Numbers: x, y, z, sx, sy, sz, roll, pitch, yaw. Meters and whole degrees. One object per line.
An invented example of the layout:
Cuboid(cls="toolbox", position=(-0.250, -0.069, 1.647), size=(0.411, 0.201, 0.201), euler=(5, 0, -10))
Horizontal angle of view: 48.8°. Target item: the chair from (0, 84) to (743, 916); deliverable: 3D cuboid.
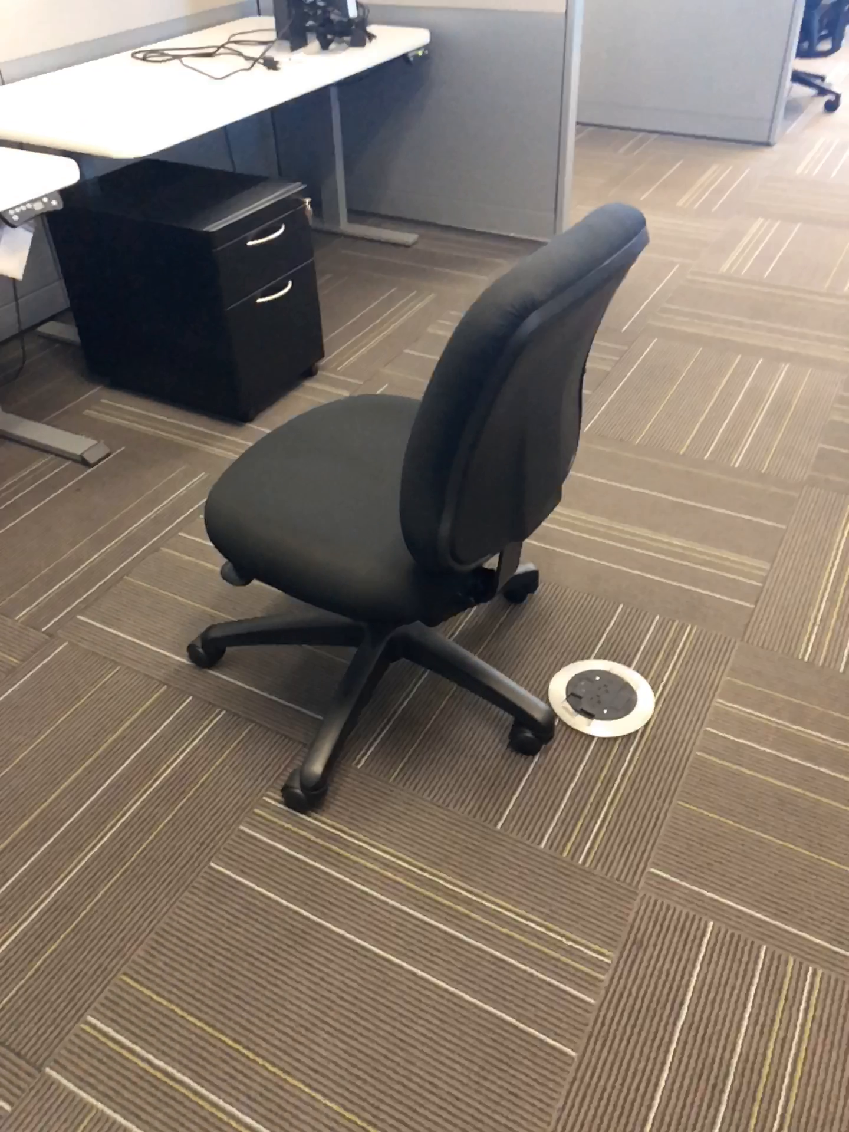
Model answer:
Cuboid(cls="chair", position=(-0.062, -0.168, 1.444), size=(0.761, 0.846, 0.773), euler=(17, 42, 22))
